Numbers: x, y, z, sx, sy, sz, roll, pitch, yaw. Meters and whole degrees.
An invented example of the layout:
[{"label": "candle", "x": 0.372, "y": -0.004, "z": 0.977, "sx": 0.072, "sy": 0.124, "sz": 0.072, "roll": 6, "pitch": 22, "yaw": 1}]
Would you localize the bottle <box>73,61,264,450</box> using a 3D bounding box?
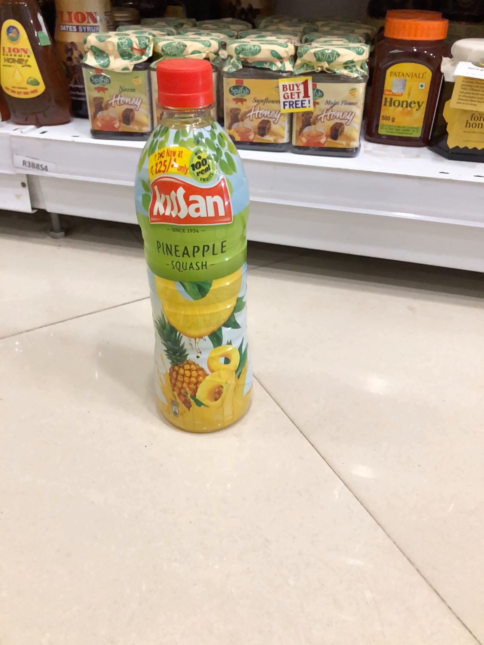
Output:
[{"label": "bottle", "x": -0.032, "y": -0.031, "z": 0.338, "sx": 0.080, "sy": 0.228, "sz": 0.081, "roll": 0, "pitch": 35, "yaw": 0}]
